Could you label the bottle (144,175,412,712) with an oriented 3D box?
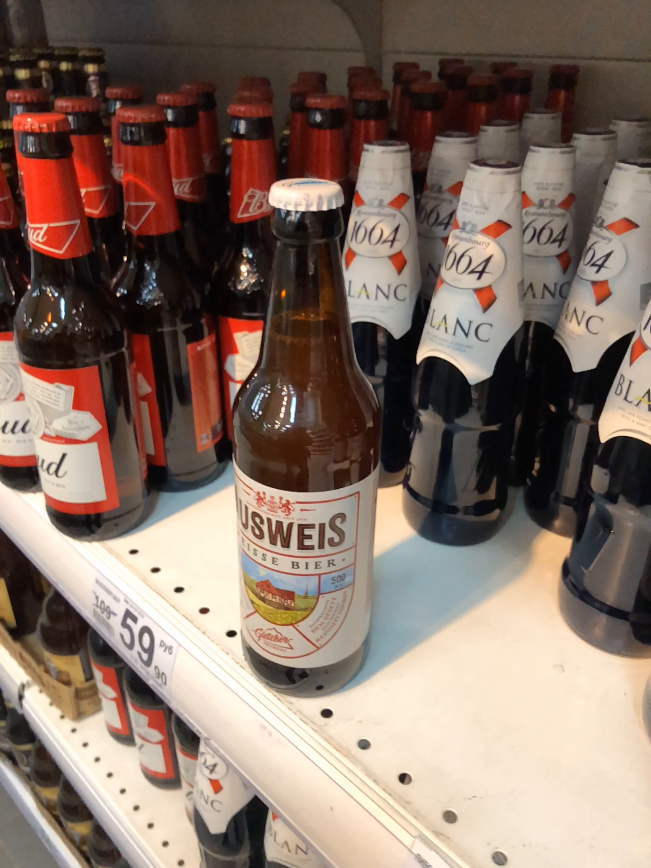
[{"bbox_3d":[-0.014,0.010,0.329,0.080,0.229,0.070,9,31,18],"label":"bottle"}]
